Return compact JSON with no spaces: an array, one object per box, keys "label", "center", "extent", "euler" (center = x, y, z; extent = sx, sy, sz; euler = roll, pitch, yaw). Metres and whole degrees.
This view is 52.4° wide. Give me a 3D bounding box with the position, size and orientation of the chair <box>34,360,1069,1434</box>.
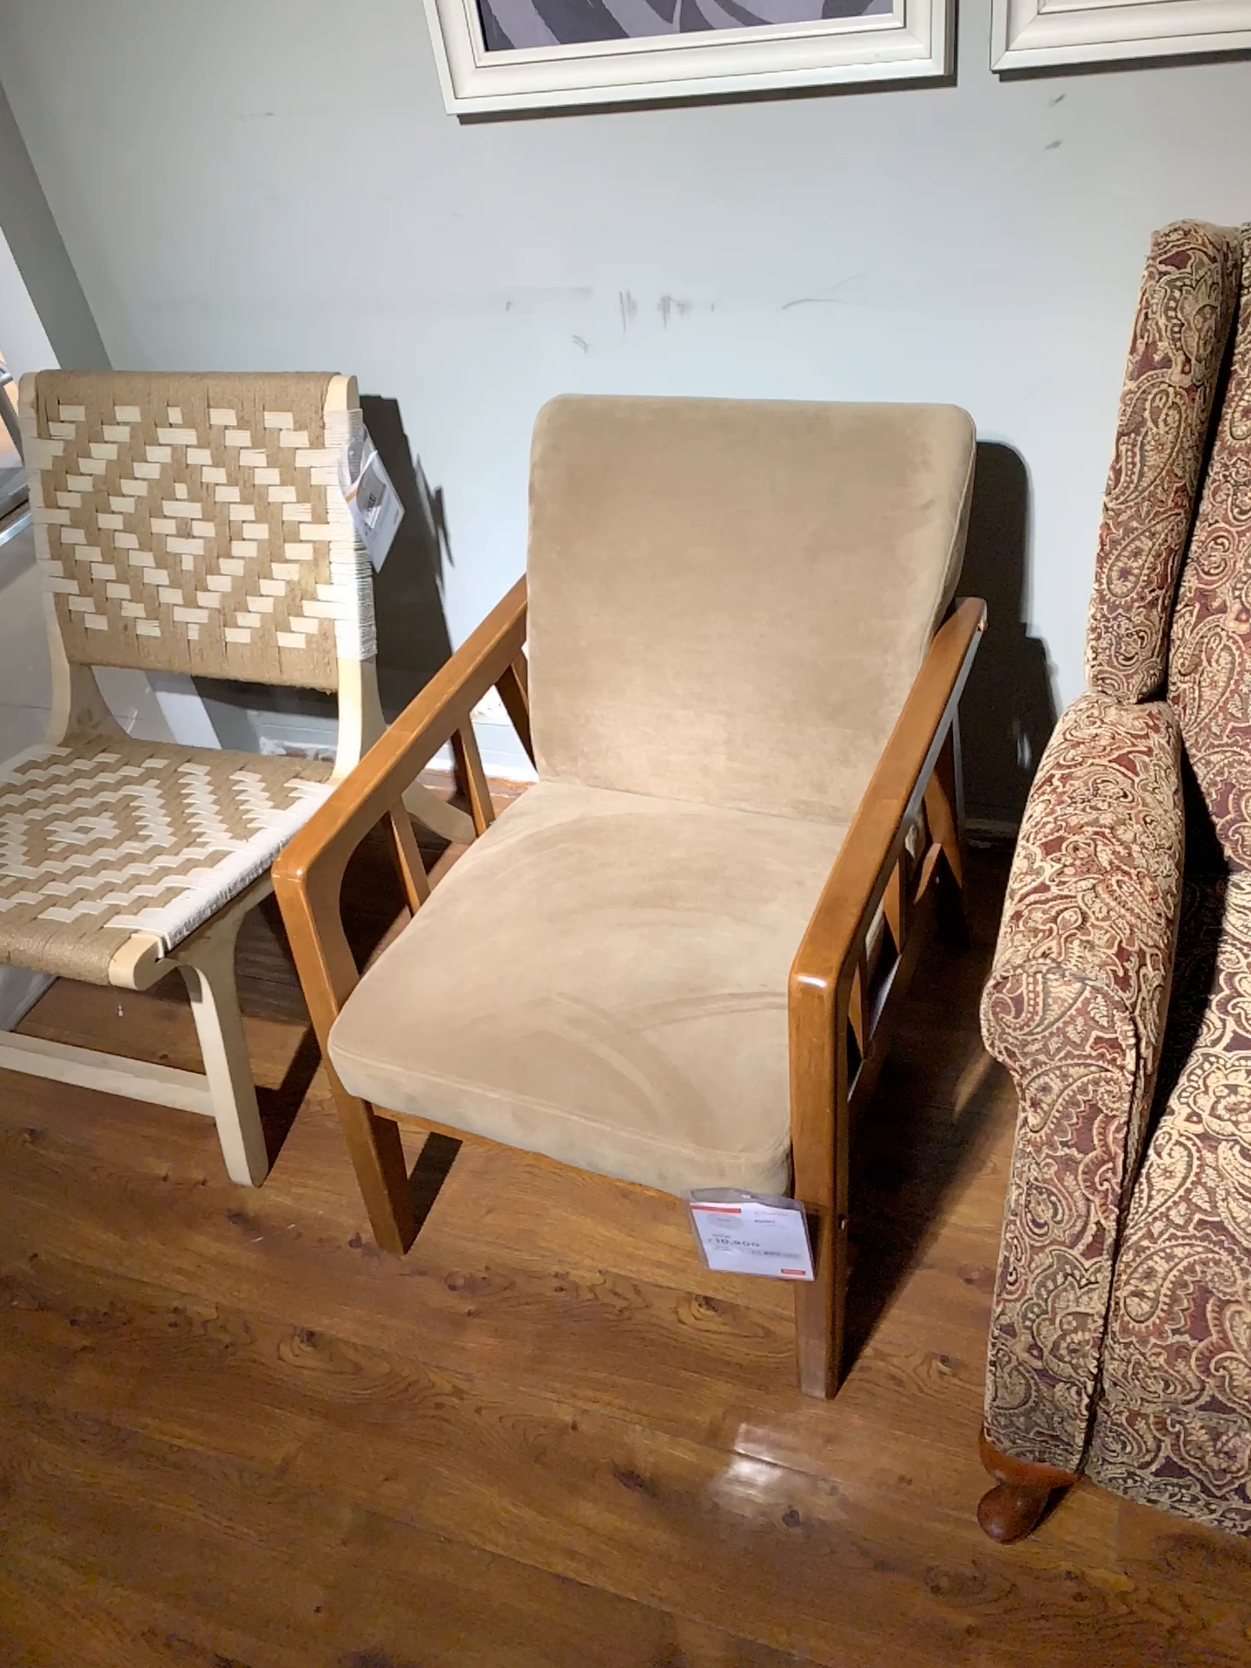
[{"label":"chair","center":[0.040,-0.006,1.478],"extent":[0.721,0.737,0.872],"euler":[10,44,22]}]
